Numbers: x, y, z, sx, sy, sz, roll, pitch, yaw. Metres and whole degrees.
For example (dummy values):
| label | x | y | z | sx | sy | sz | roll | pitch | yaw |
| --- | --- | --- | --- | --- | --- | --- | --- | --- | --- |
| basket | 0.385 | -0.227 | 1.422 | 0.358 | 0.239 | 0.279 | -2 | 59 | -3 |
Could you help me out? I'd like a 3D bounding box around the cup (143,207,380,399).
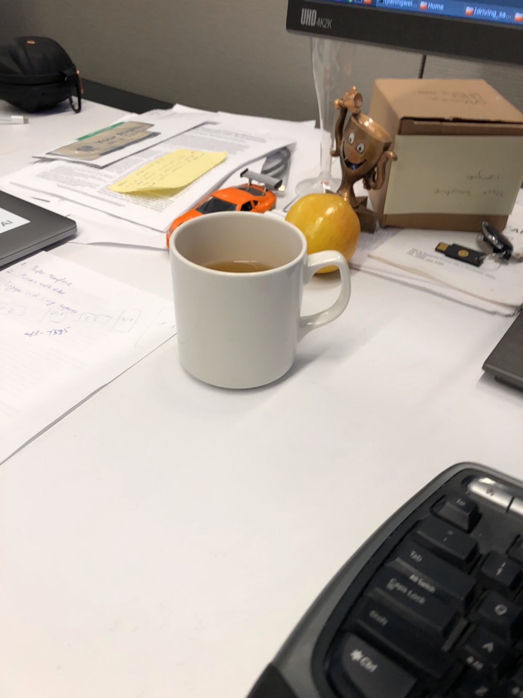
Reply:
| label | x | y | z | sx | sy | sz | roll | pitch | yaw |
| --- | --- | --- | --- | --- | --- | --- | --- | --- | --- |
| cup | -0.005 | -0.030 | 0.345 | 0.120 | 0.080 | 0.080 | -3 | 37 | -6 |
